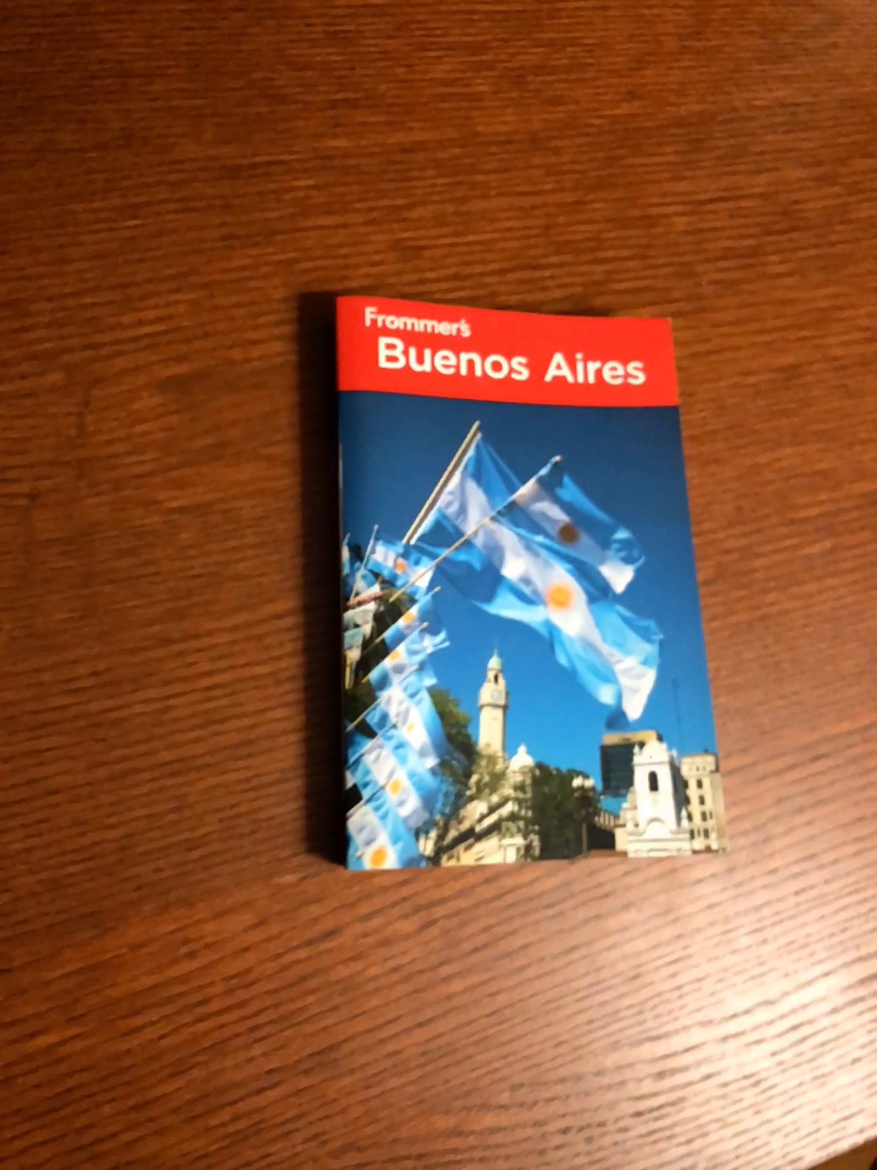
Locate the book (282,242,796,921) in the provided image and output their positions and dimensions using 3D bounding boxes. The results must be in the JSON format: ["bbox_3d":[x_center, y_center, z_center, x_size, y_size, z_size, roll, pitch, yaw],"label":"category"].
[{"bbox_3d":[0.031,-0.008,0.338,0.160,0.020,0.220,-1,77,-14],"label":"book"}]
